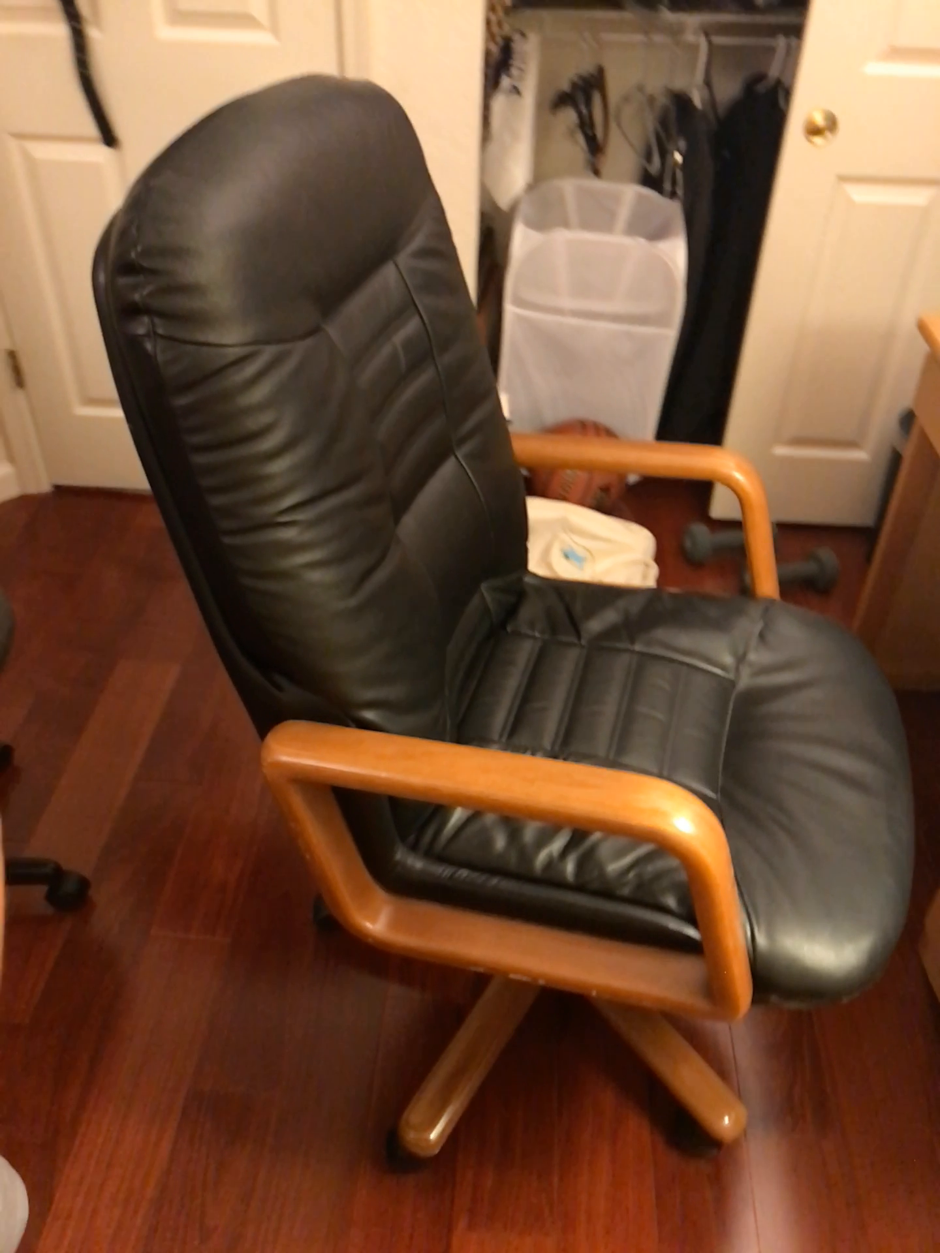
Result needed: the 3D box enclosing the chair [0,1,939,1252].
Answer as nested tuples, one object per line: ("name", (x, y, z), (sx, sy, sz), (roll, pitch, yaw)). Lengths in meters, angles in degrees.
("chair", (0.153, -0.006, 1.270), (0.850, 1.141, 0.998), (12, 41, 12))
